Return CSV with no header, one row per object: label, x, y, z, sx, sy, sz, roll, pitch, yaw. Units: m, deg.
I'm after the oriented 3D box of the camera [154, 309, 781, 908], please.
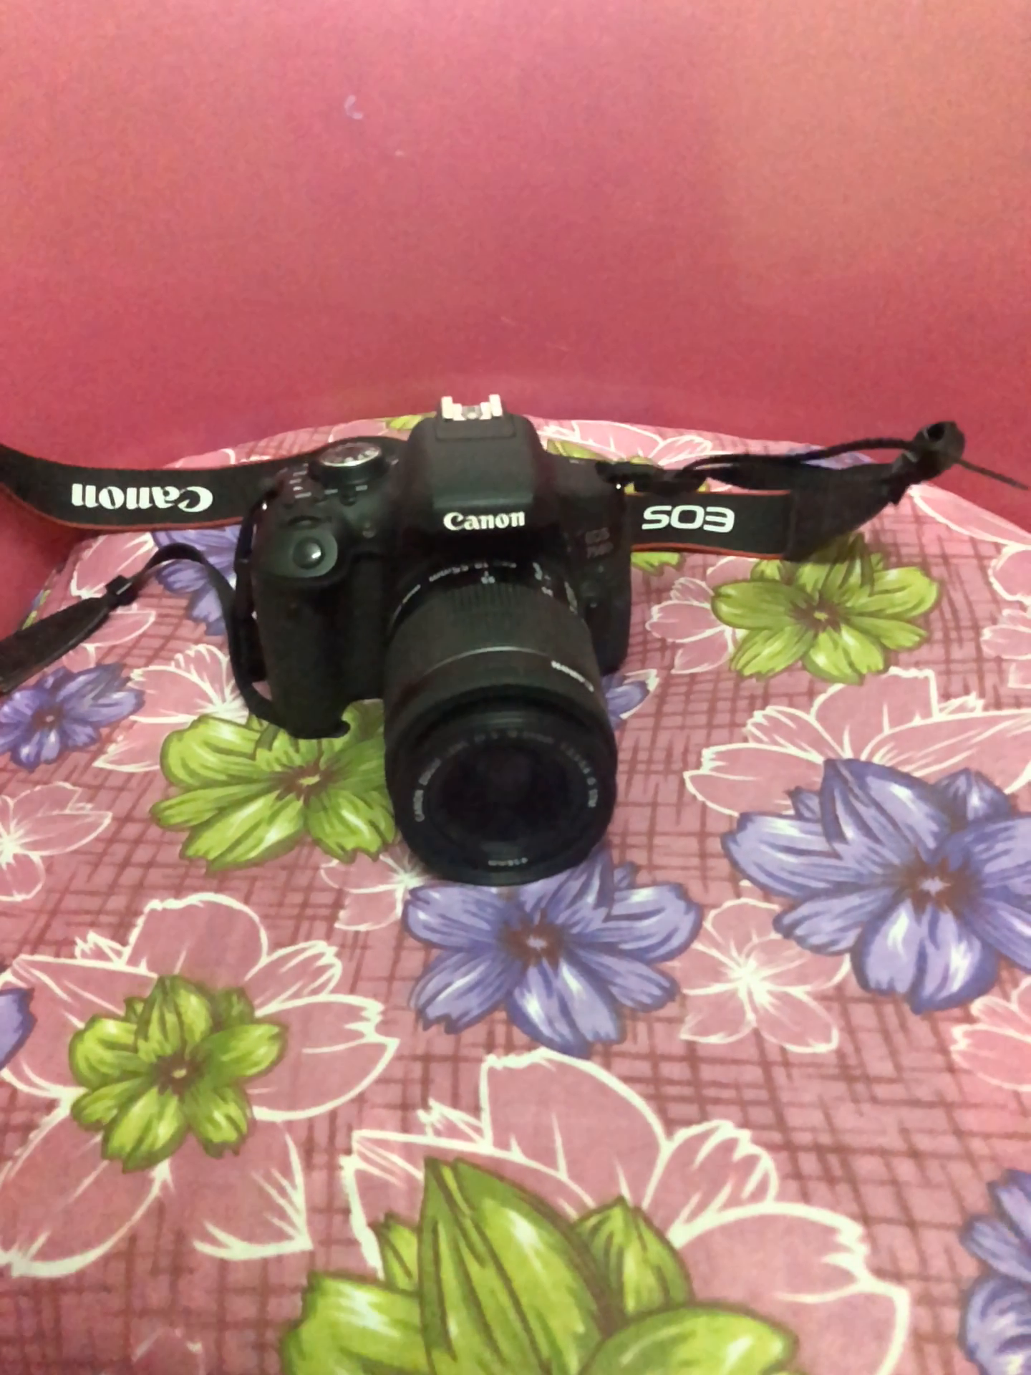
camera,-0.015,-0.033,0.346,0.140,0.099,0.161,-3,41,-3
